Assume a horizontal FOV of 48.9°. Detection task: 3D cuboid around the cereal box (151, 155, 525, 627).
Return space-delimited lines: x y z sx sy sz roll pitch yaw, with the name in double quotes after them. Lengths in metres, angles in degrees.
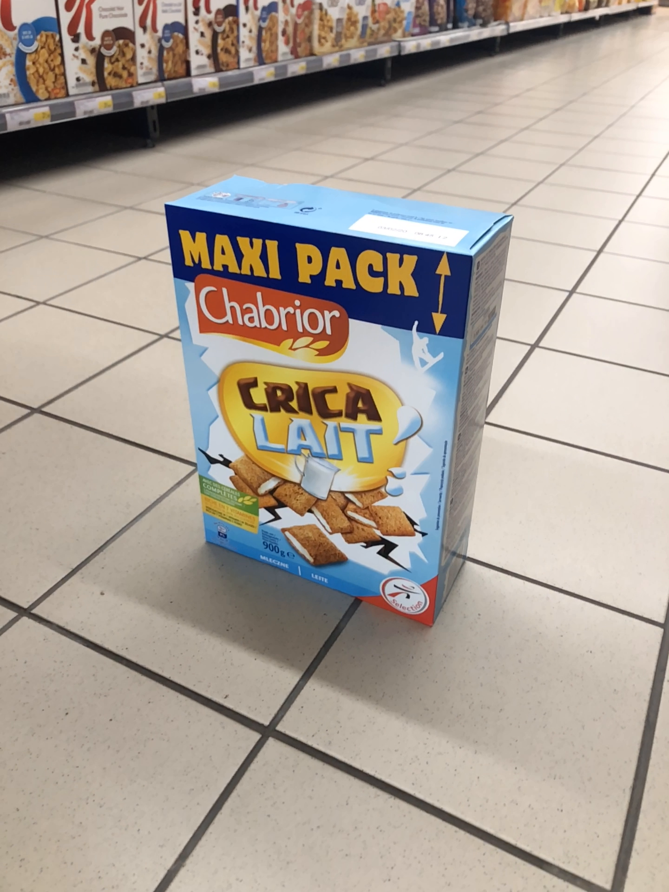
0.001 -0.039 0.501 0.200 0.268 0.091 16 36 24 "cereal box"
